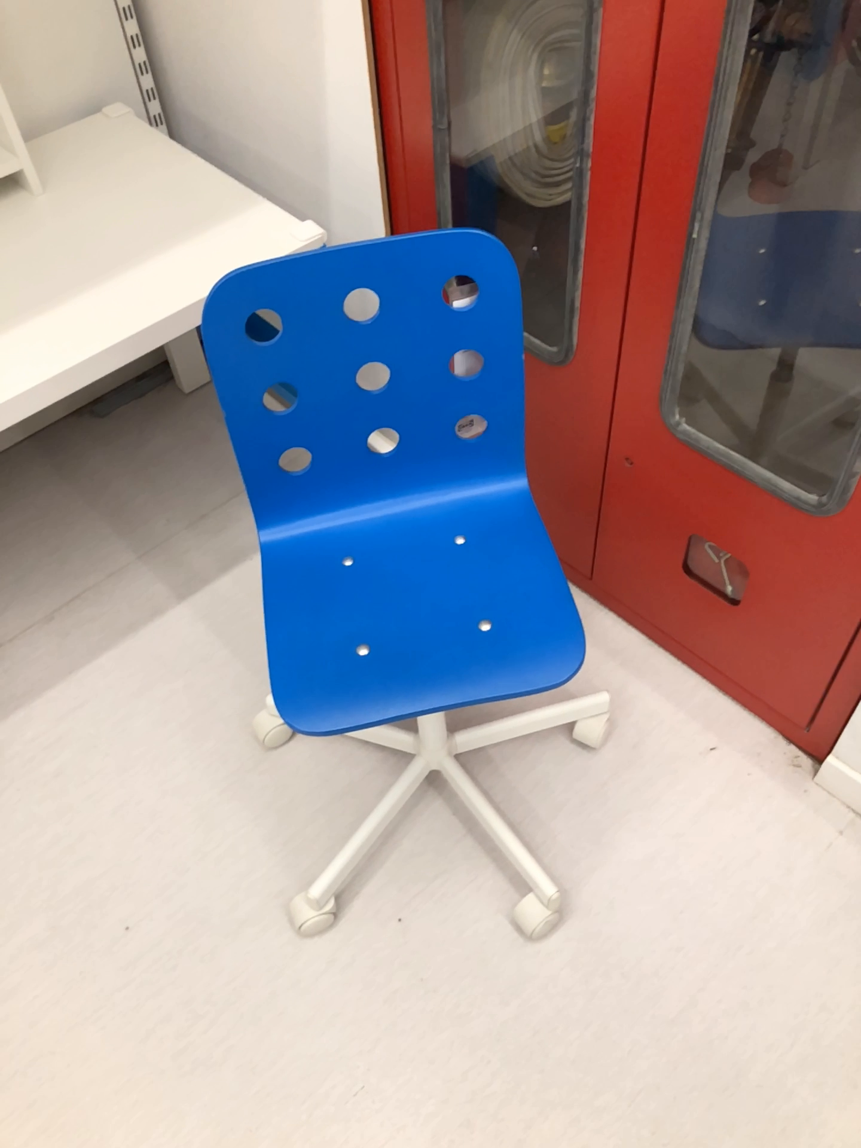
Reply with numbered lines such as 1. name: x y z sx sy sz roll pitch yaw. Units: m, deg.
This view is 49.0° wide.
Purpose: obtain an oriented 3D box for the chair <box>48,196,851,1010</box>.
1. chair: -0.015 0.050 1.075 0.570 0.626 0.563 -11 51 -5
